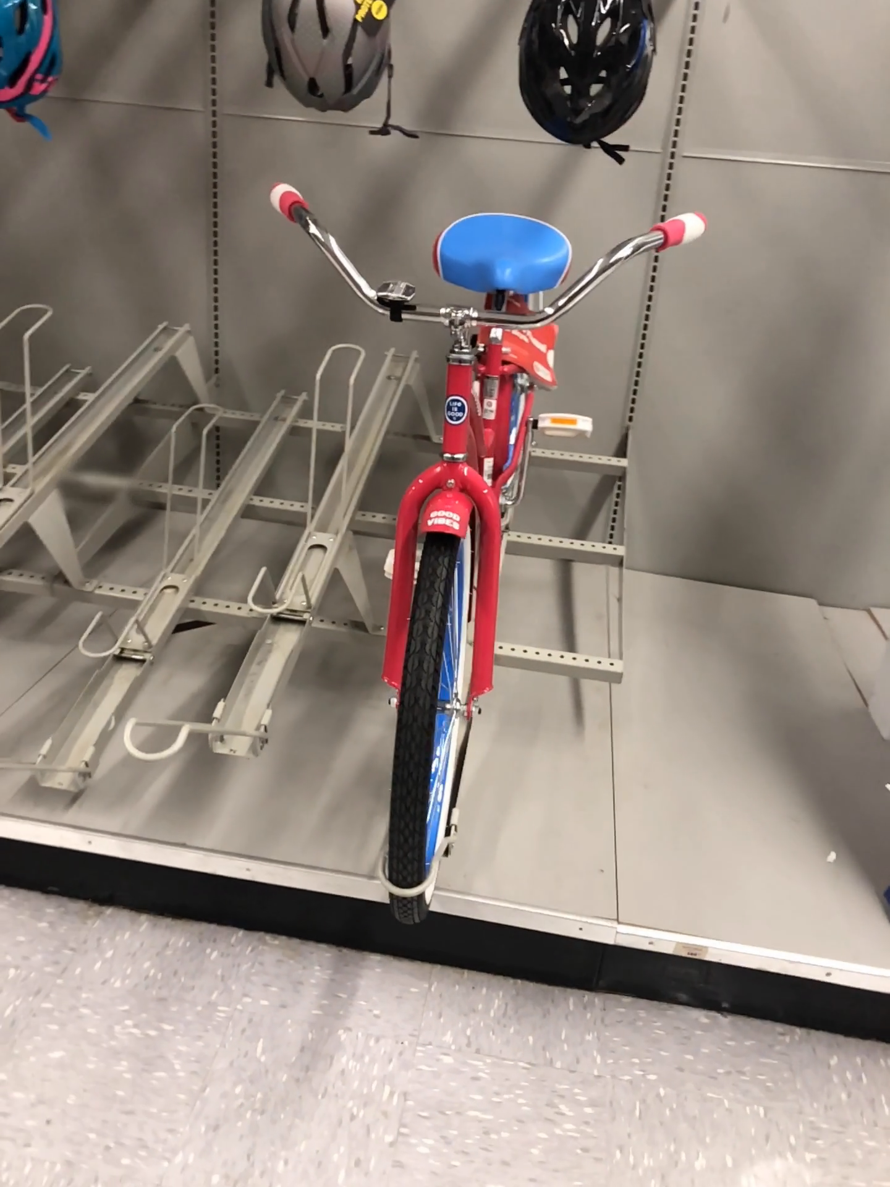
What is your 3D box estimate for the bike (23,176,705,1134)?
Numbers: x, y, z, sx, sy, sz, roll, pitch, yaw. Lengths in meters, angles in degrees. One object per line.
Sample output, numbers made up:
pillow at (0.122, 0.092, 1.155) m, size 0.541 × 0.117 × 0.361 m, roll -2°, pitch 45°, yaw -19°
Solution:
bike at (-0.005, -0.122, 1.882) m, size 0.810 × 0.676 × 1.615 m, roll 8°, pitch 39°, yaw 5°
